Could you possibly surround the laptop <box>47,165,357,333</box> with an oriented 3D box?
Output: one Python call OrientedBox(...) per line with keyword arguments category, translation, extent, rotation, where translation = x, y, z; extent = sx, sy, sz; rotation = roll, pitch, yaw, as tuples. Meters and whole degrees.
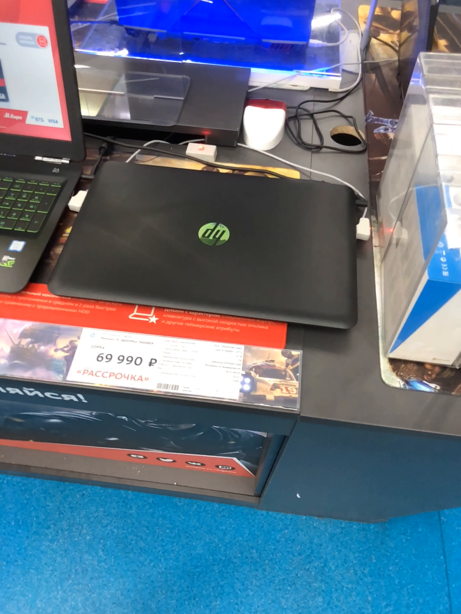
OrientedBox(category="laptop", translation=(-0.022, -0.090, 0.668), extent=(0.372, 0.006, 0.240), rotation=(7, 55, 4))
